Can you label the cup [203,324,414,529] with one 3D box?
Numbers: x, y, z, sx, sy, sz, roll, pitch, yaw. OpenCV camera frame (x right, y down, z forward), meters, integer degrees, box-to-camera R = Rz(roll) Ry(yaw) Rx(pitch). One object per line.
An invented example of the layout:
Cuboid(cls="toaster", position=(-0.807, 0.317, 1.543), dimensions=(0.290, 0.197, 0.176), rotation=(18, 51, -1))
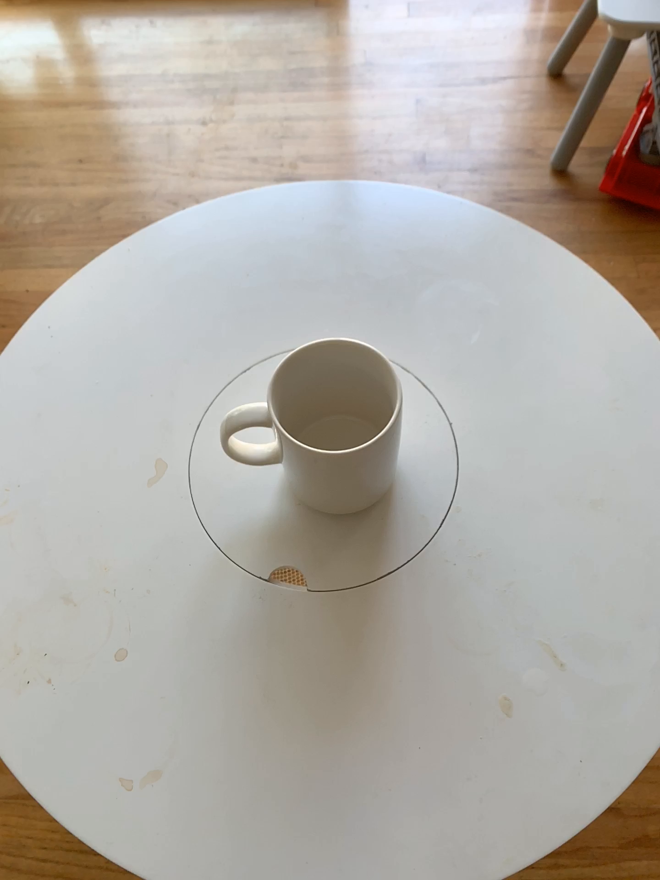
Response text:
Cuboid(cls="cup", position=(-0.013, -0.007, 0.483), dimensions=(0.130, 0.090, 0.110), rotation=(-3, 63, 2))
